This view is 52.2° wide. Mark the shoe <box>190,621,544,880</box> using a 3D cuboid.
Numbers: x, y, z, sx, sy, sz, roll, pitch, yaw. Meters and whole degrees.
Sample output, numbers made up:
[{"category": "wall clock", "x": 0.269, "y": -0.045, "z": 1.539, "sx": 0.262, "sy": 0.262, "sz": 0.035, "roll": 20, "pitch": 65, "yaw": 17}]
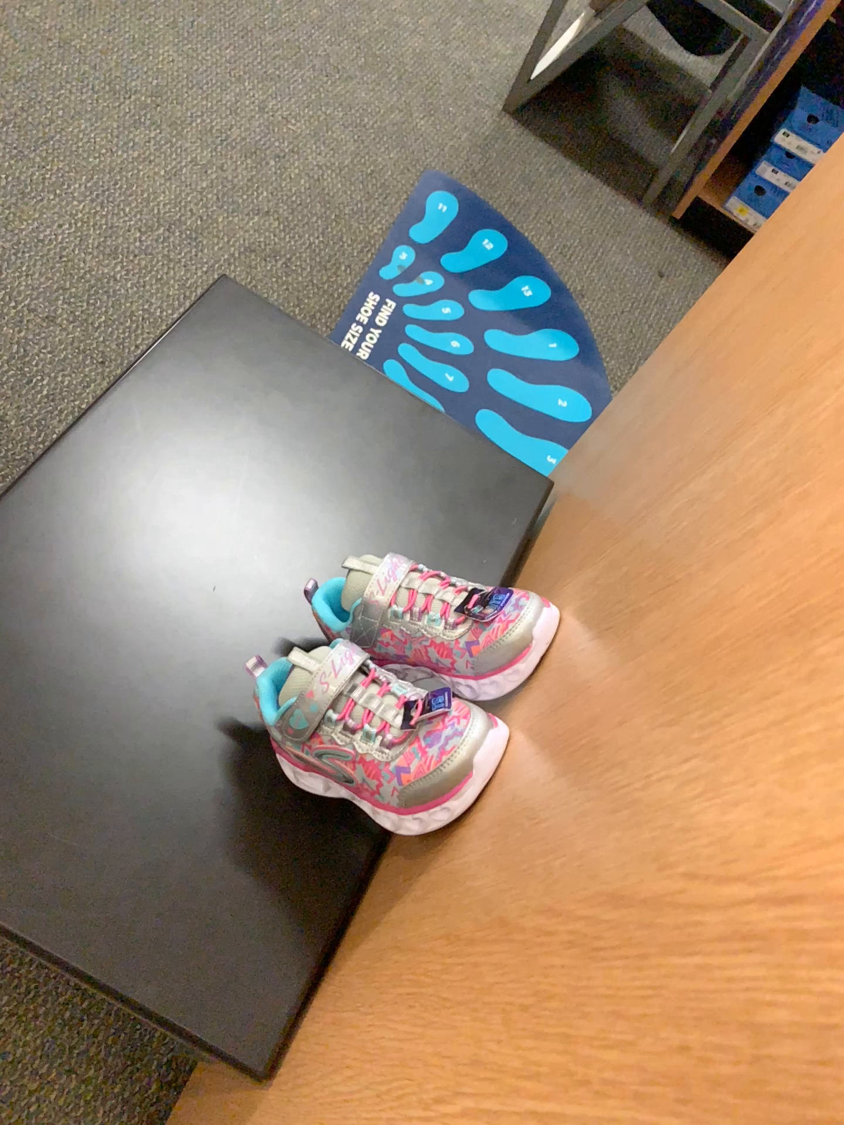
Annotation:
[{"category": "shoe", "x": -0.036, "y": 0.111, "z": 0.543, "sx": 0.090, "sy": 0.180, "sz": 0.100, "roll": -56, "pitch": 131, "yaw": -32}]

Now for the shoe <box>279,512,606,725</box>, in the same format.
[{"category": "shoe", "x": 0.014, "y": 0.035, "z": 0.593, "sx": 0.100, "sy": 0.180, "sz": 0.090, "roll": 56, "pitch": 49, "yaw": -36}]
